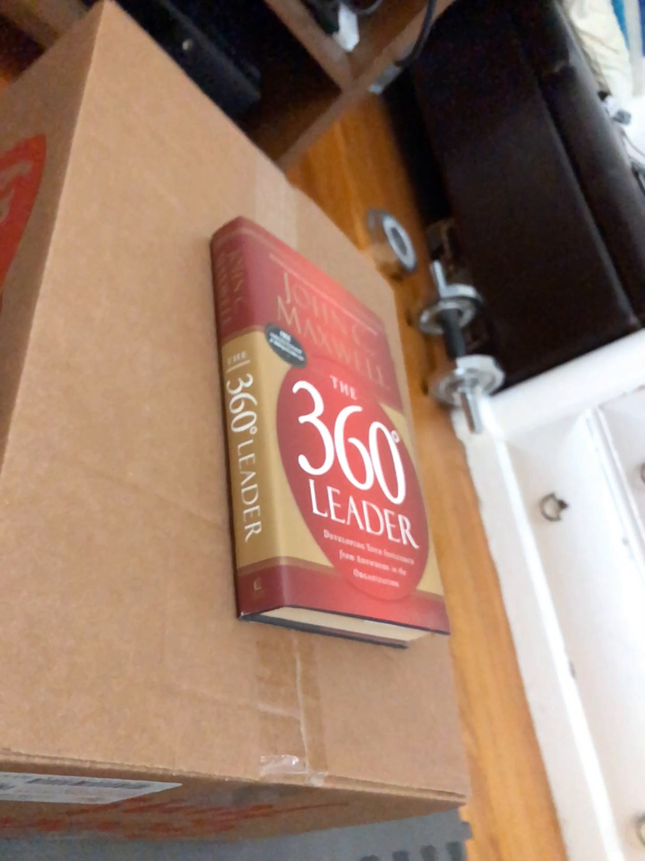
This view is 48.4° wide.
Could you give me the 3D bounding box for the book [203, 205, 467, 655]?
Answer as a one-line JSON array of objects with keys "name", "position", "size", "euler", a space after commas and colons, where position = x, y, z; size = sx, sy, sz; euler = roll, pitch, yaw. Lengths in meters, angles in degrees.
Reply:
[{"name": "book", "position": [0.008, 0.005, 0.442], "size": [0.180, 0.030, 0.241], "euler": [28, 45, -48]}]
